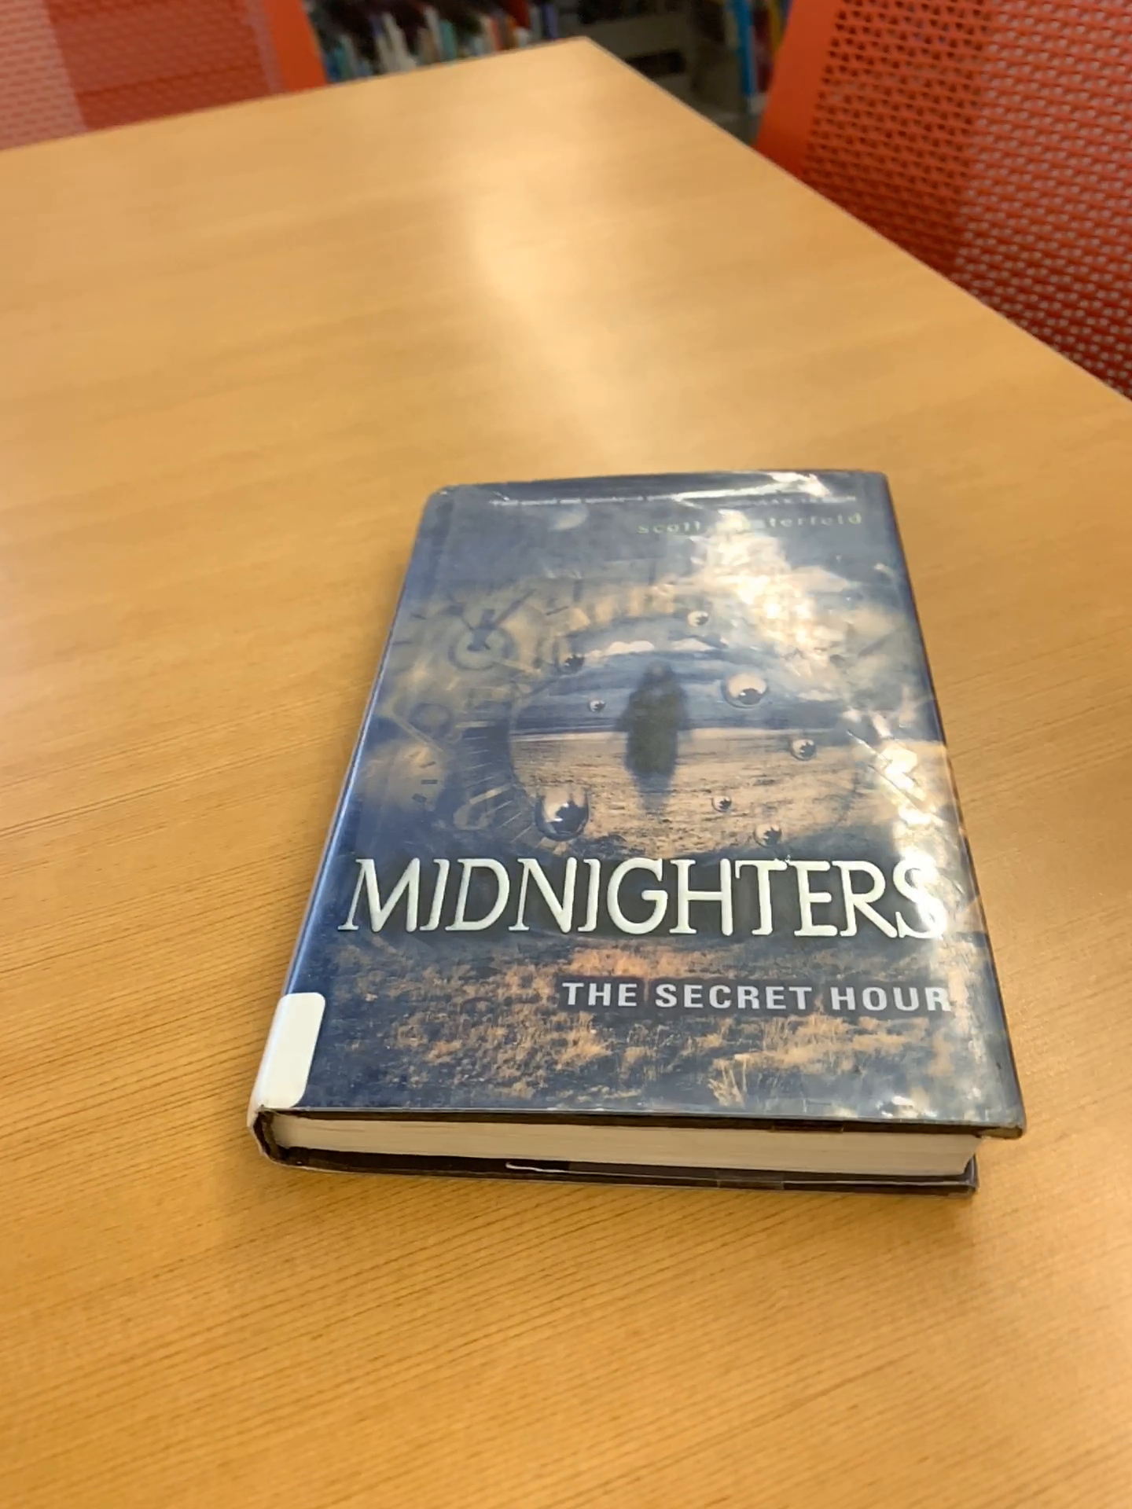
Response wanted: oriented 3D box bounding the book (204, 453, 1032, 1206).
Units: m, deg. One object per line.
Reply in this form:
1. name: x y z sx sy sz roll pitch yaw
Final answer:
1. book: 0.016 -0.001 0.302 0.150 0.040 0.215 0 45 6
